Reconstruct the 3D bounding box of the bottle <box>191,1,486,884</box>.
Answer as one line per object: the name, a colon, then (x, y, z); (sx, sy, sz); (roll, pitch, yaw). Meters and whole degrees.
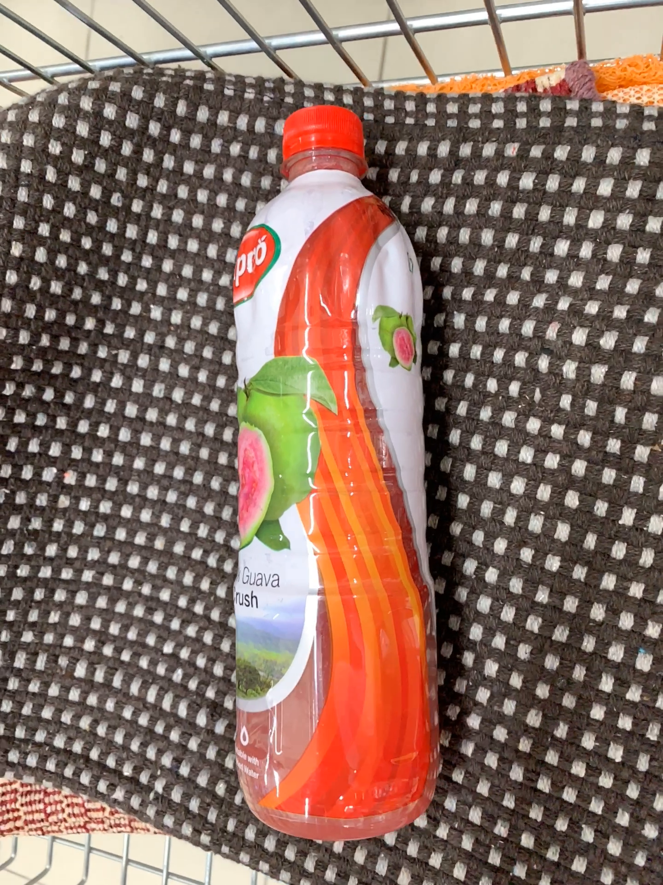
bottle: (-0.002, -0.003, 0.232); (0.070, 0.070, 0.240); (3, 83, -26)
